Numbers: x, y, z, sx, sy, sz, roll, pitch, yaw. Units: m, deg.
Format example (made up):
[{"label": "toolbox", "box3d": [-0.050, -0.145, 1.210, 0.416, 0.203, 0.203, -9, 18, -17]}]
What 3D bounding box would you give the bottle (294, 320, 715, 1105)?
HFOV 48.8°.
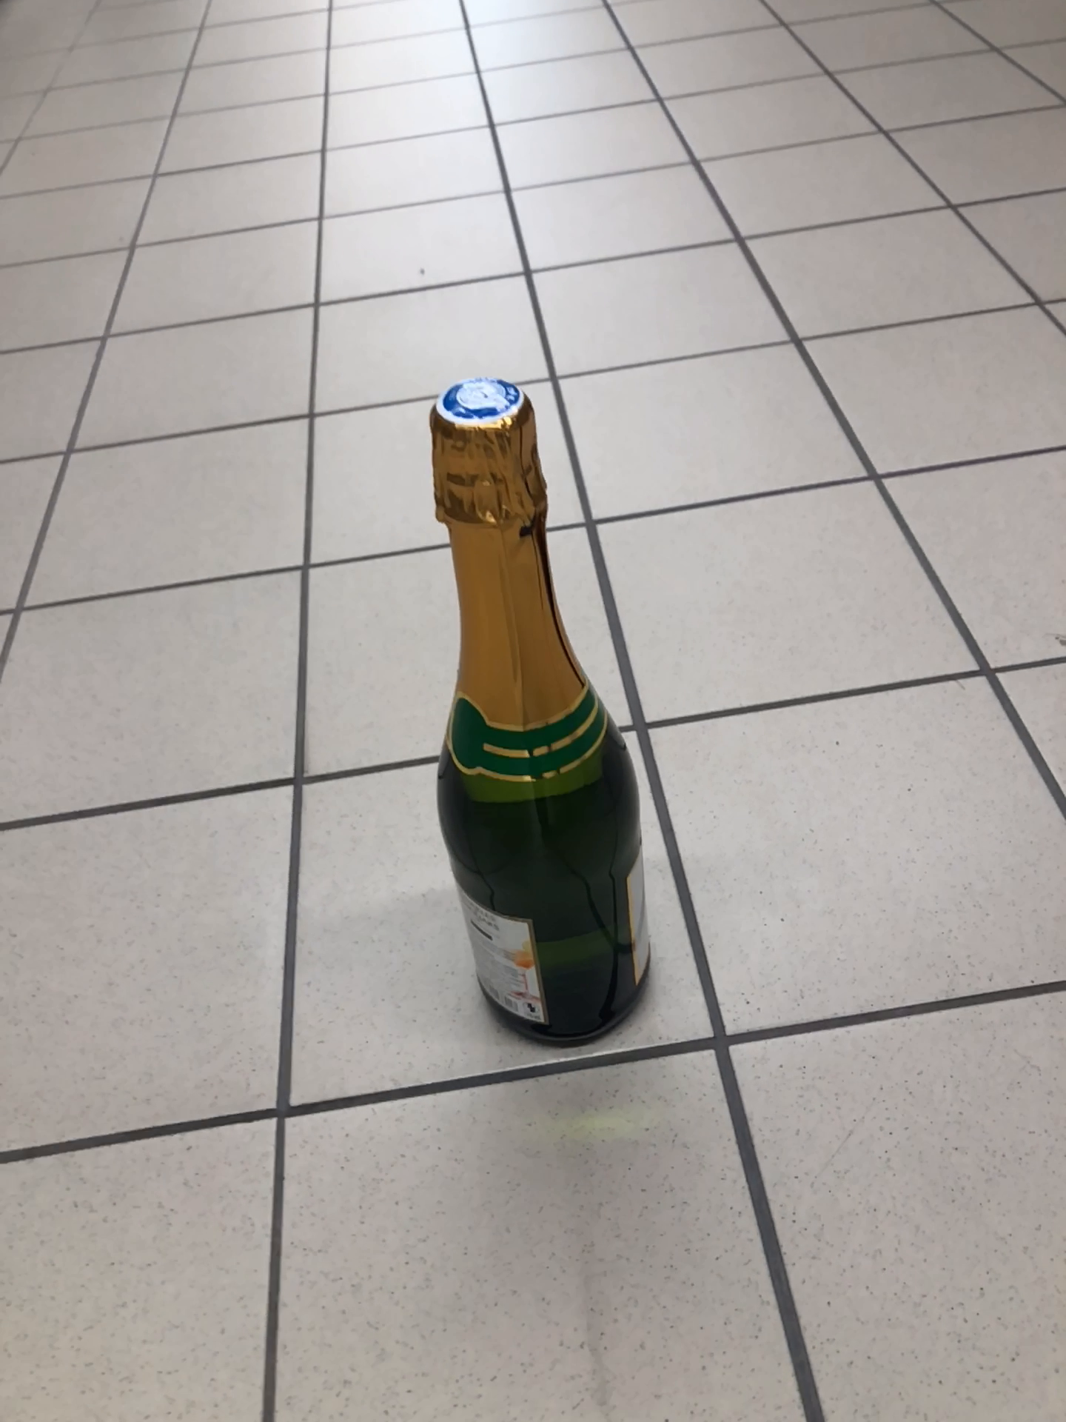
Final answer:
[{"label": "bottle", "box3d": [0.006, 0.019, 0.454, 0.090, 0.298, 0.090, -4, 44, 4]}]
